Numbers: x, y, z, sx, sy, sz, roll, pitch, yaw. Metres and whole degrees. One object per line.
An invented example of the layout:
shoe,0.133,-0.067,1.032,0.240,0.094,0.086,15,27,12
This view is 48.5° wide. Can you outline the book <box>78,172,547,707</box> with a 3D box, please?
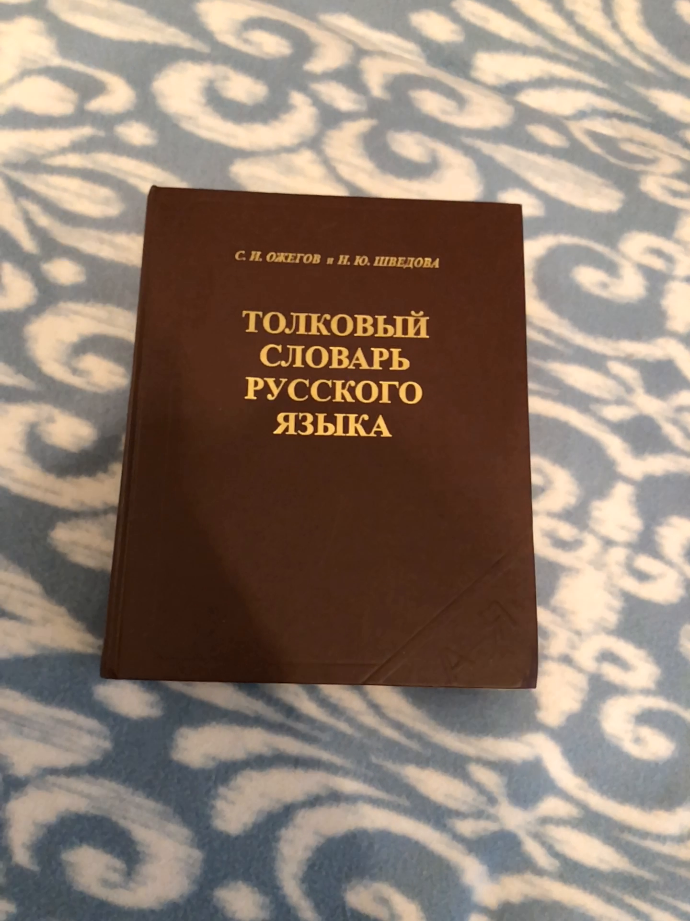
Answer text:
book,-0.010,-0.013,0.422,0.220,0.067,0.270,3,77,-2
